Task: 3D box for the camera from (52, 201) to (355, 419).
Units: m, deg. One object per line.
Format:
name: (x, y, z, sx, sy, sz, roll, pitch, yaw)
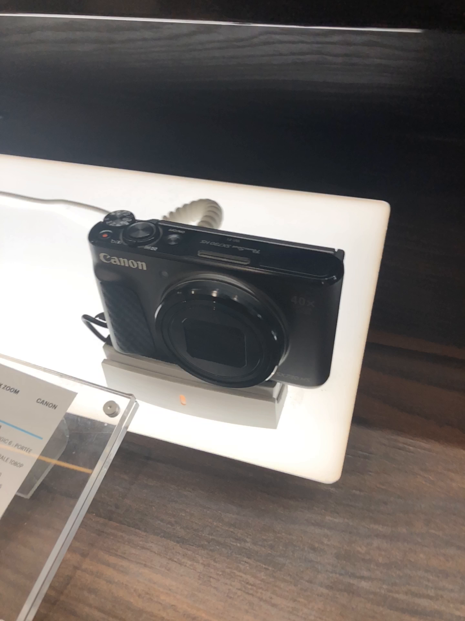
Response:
camera: (-0.011, -0.001, 0.226, 0.114, 0.069, 0.035, 11, 43, 15)
